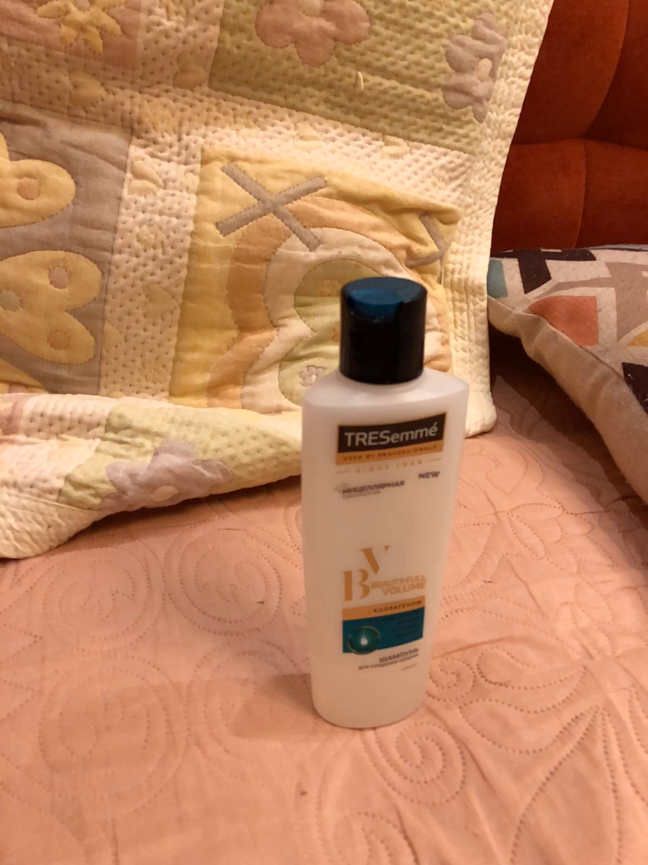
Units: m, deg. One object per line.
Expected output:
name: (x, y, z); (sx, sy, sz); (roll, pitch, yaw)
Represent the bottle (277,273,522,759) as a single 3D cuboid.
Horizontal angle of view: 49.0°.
bottle: (0.021, 0.041, 0.285); (0.070, 0.199, 0.040); (-5, 29, -14)
